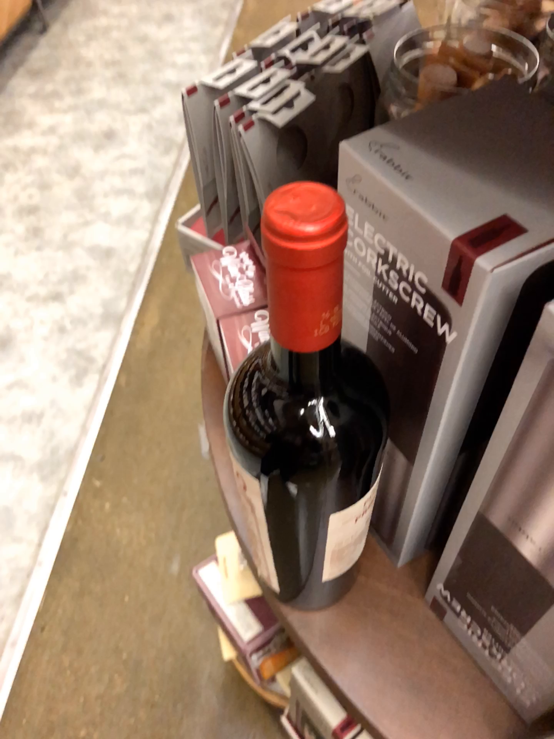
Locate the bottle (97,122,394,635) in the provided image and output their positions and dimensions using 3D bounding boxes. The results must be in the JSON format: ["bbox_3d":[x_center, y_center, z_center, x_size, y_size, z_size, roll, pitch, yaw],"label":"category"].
[{"bbox_3d":[0.001,0.039,0.313,0.072,0.299,0.072,-2,50,3],"label":"bottle"}]
